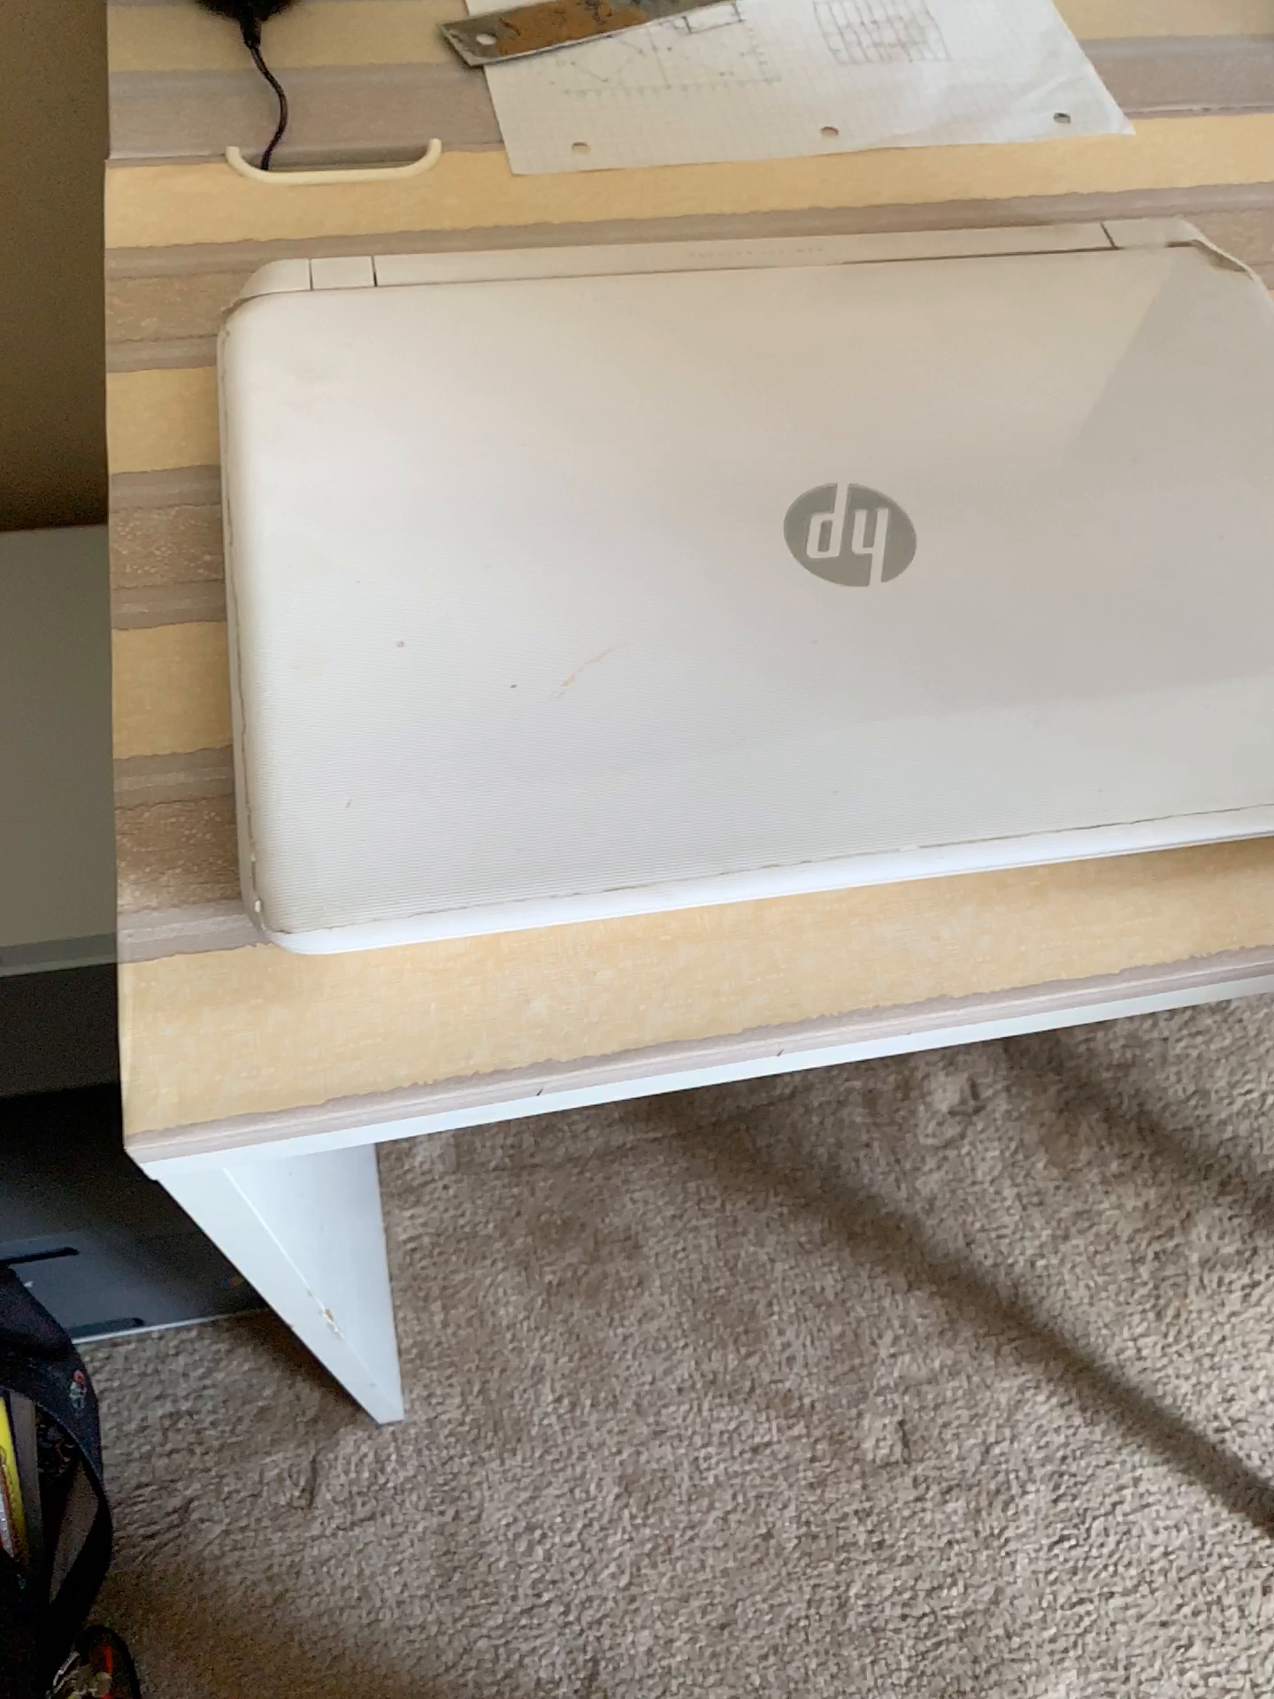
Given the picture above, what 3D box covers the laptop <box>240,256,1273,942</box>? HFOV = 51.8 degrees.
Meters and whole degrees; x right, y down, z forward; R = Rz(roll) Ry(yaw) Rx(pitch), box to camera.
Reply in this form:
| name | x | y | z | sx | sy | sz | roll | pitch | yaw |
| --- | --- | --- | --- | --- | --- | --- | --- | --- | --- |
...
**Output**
| name | x | y | z | sx | sy | sz | roll | pitch | yaw |
| --- | --- | --- | --- | --- | --- | --- | --- | --- | --- |
| laptop | 0.064 | -0.099 | 0.415 | 0.363 | 0.002 | 0.229 | -7 | 63 | -8 |
